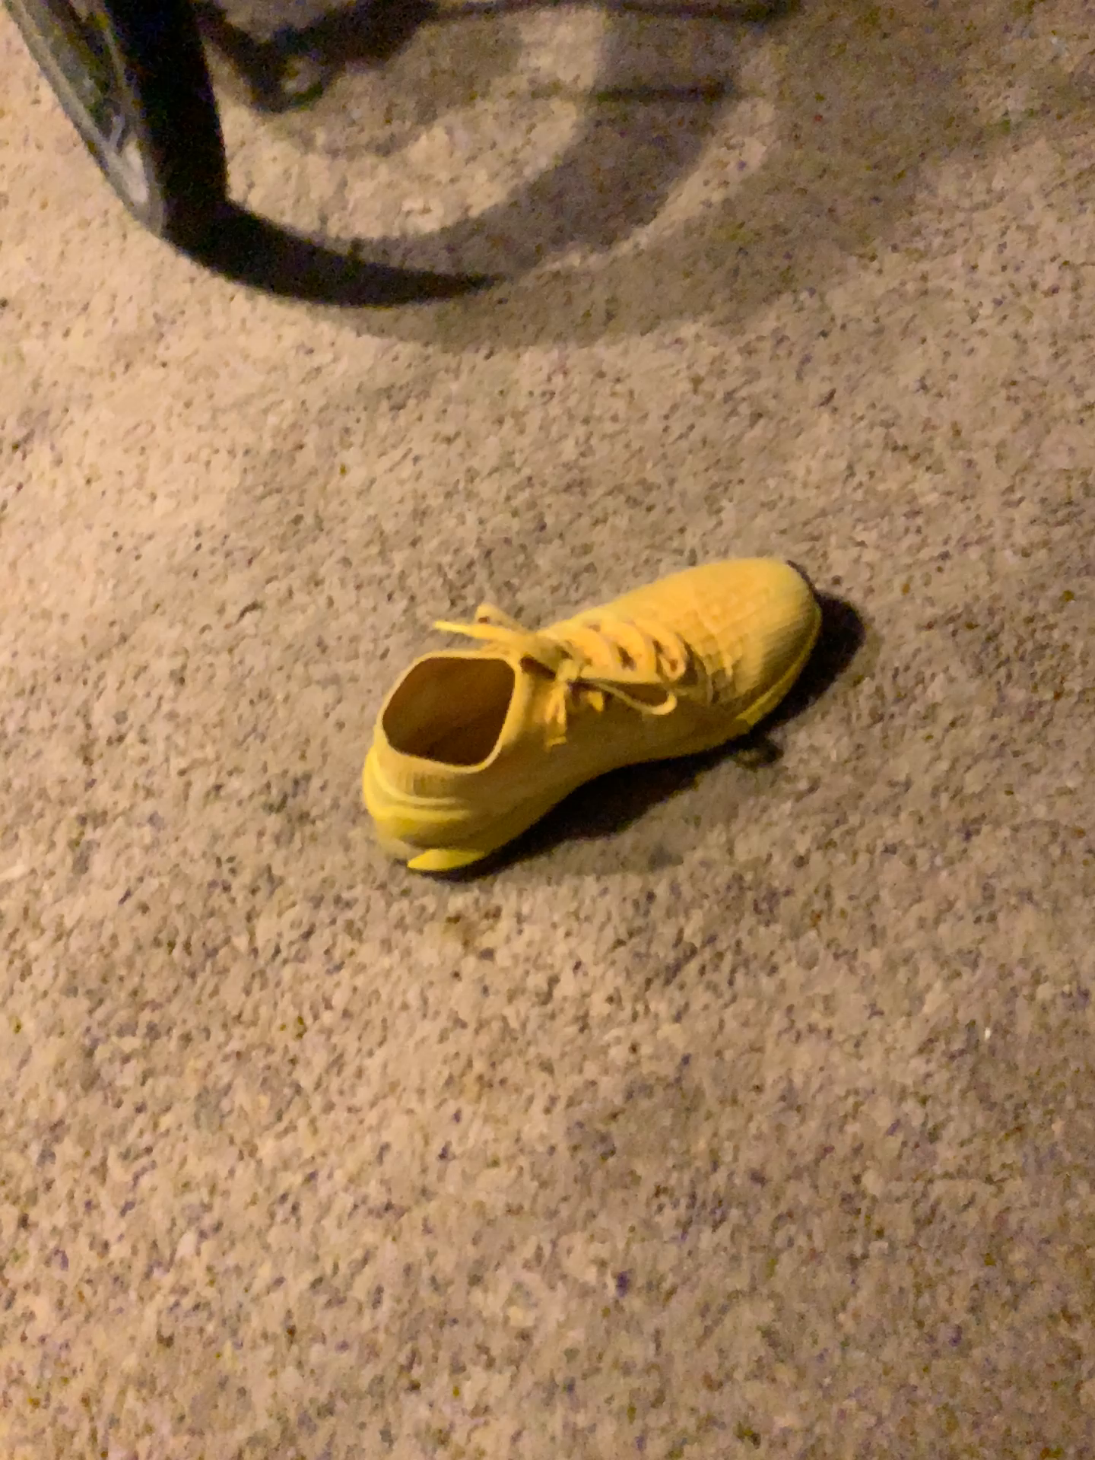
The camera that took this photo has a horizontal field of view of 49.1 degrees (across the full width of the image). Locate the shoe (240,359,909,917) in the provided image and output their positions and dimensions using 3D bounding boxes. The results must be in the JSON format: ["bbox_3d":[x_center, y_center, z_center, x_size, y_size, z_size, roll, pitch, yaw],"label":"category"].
[{"bbox_3d":[0.019,-0.046,0.664,0.320,0.130,0.130,-28,61,-1],"label":"shoe"}]
